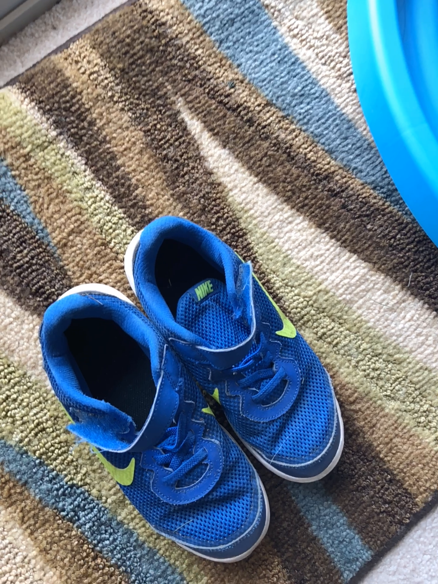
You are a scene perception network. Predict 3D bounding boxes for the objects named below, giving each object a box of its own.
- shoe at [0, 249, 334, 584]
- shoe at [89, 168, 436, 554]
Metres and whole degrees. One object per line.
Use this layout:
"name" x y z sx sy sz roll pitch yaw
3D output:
"shoe" -0.042 0.102 0.331 0.102 0.075 0.233 -35 87 -10
"shoe" 0.025 0.044 0.347 0.103 0.075 0.230 -38 88 -11
